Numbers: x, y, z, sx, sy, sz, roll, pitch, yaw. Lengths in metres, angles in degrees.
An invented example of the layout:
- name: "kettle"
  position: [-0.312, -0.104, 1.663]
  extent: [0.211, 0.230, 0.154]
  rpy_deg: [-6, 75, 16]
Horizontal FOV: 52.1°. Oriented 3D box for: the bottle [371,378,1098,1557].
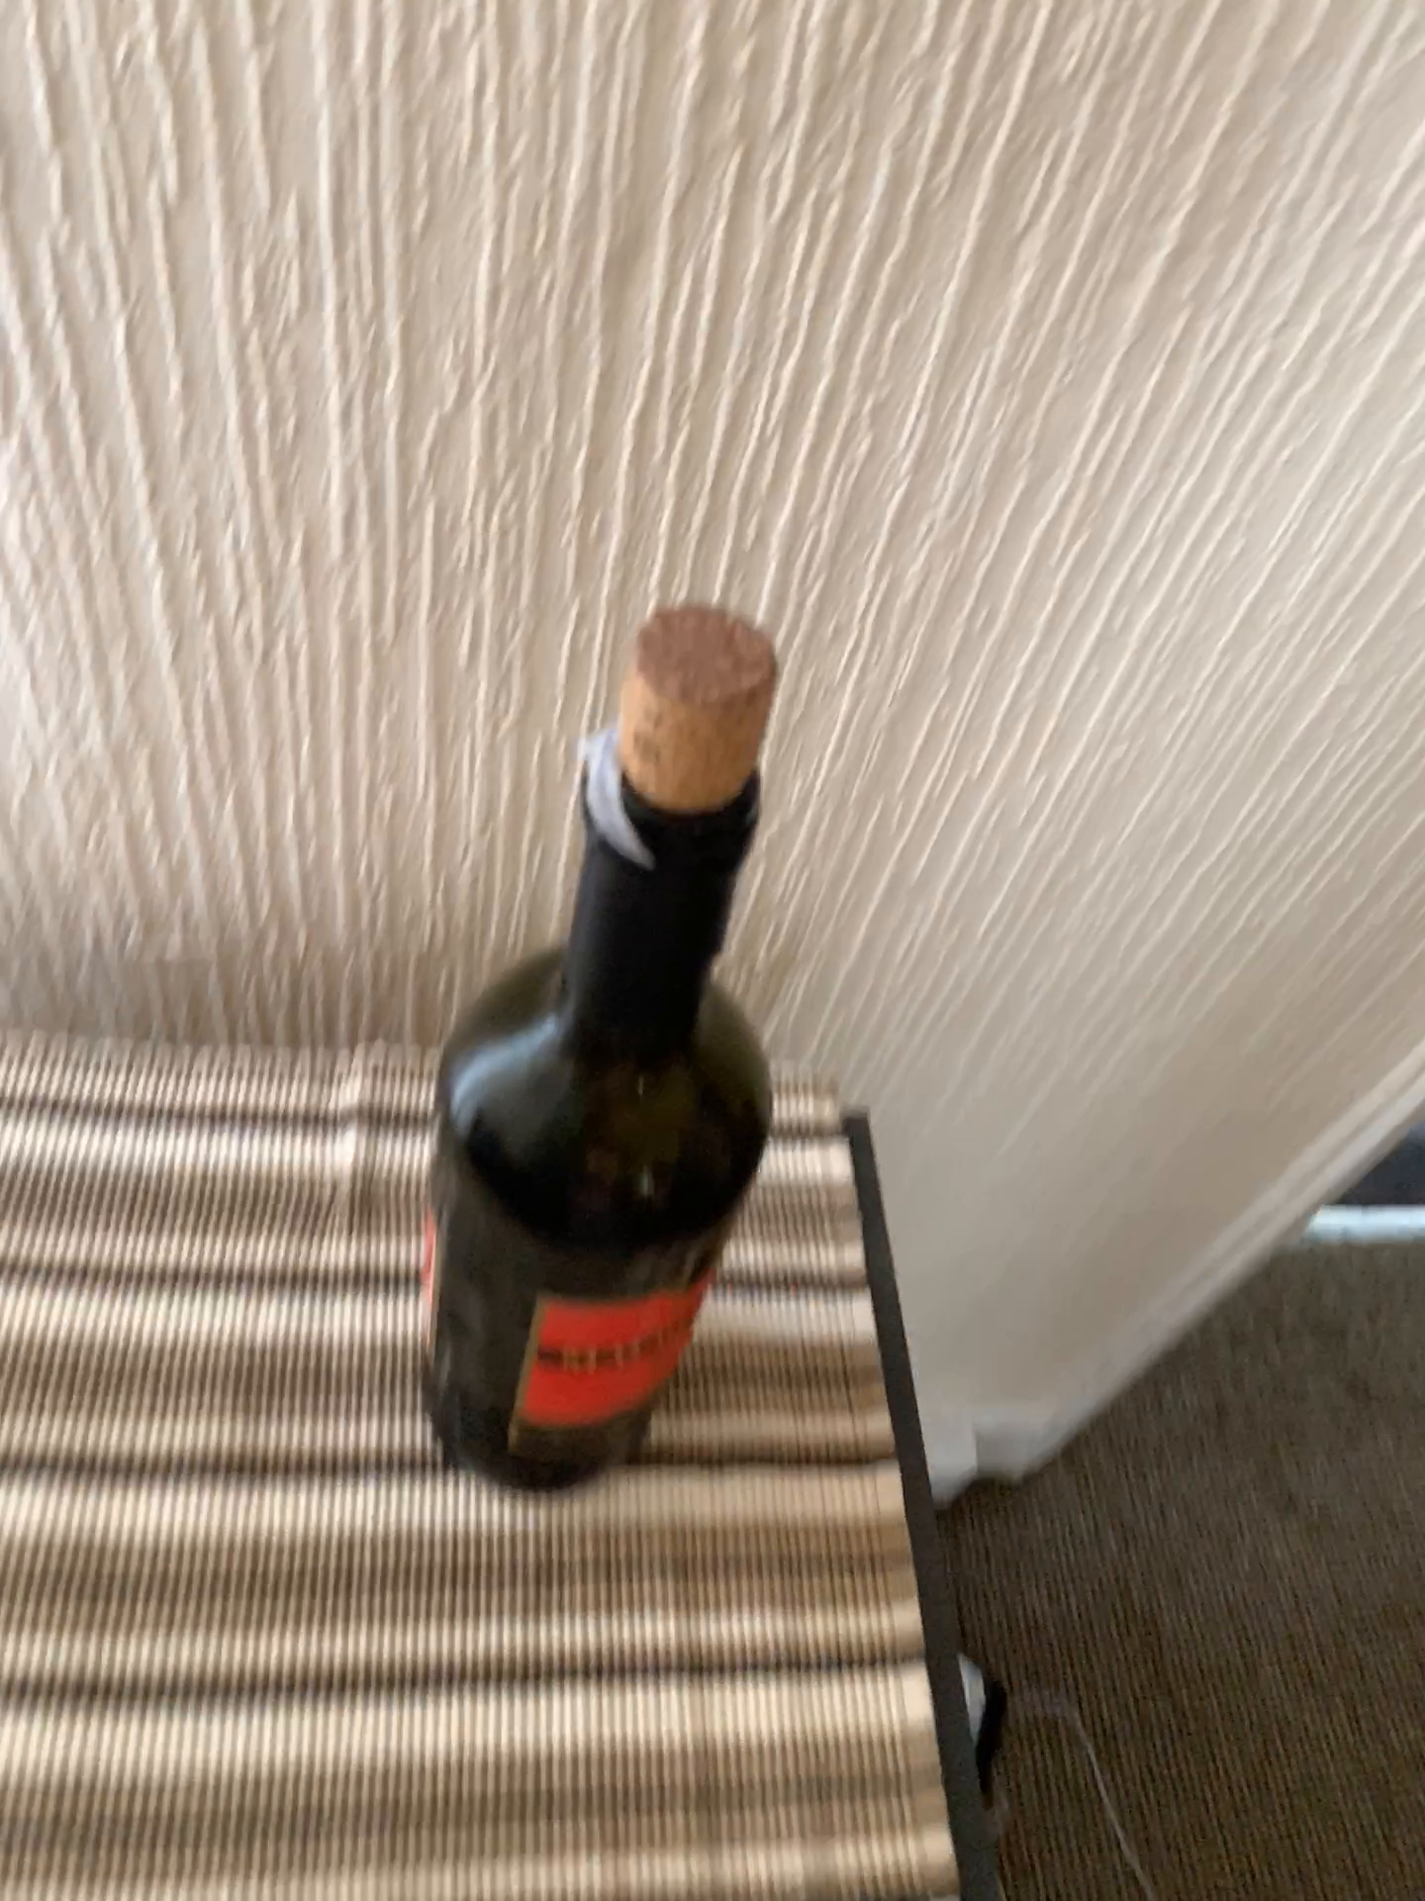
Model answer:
- name: "bottle"
  position: [-0.021, 0.042, 0.341]
  extent: [0.080, 0.317, 0.081]
  rpy_deg: [6, 53, -8]
